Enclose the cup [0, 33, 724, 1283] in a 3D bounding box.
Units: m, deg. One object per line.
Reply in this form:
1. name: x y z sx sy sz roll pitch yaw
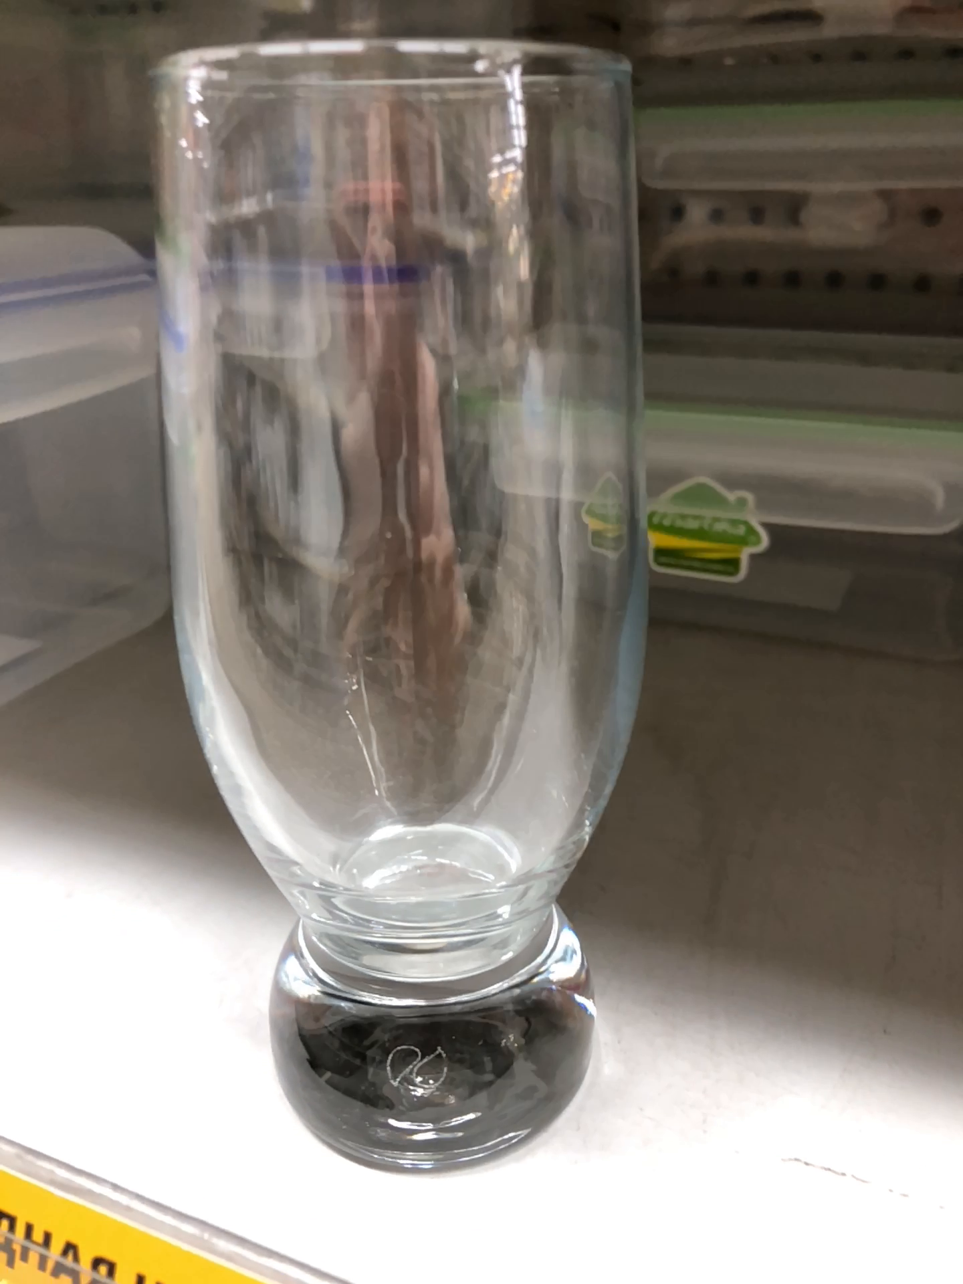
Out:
1. cup: -0.010 0.001 0.155 0.057 0.146 0.069 13 27 27
